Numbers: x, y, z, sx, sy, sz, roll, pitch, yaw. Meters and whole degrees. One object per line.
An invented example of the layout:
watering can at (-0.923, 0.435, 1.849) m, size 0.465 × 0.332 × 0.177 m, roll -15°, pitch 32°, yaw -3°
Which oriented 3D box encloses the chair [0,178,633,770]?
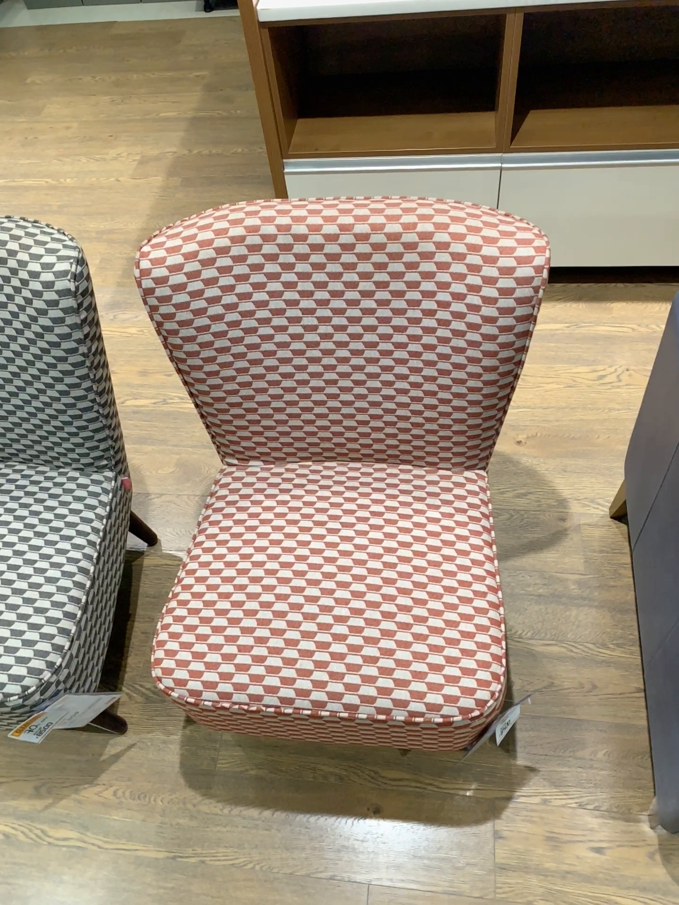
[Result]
chair at (-0.005, 0.100, 1.206) m, size 0.700 × 0.868 × 0.611 m, roll 1°, pitch 54°, yaw 8°
